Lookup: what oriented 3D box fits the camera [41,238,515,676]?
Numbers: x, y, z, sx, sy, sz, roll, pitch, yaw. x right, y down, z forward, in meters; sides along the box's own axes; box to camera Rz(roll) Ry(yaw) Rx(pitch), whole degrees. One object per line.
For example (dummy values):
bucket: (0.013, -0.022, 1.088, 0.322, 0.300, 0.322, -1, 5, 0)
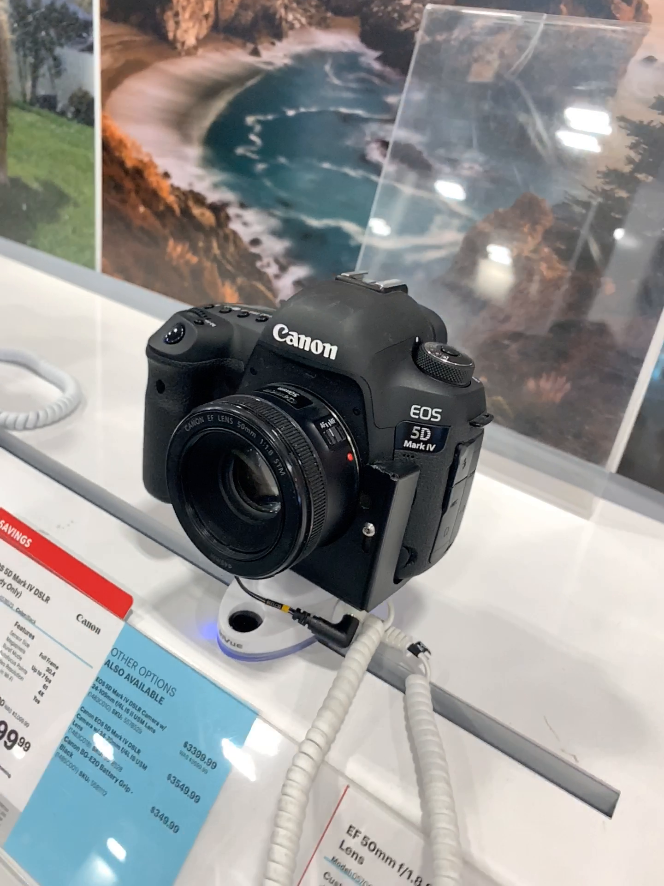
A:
camera: (-0.024, -0.011, 0.284, 0.140, 0.106, 0.112, 24, 30, 28)
